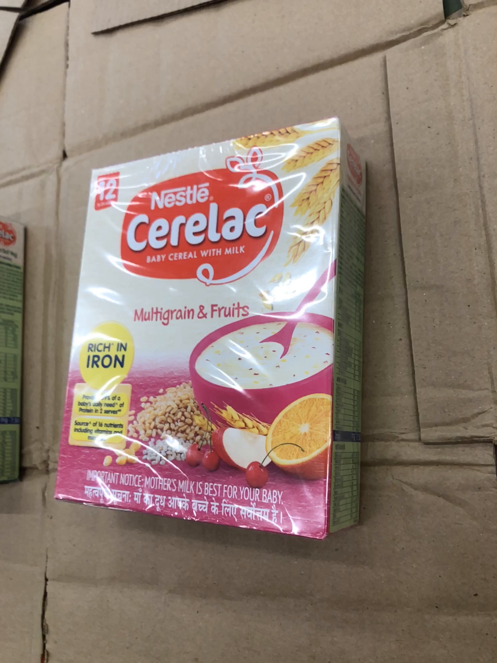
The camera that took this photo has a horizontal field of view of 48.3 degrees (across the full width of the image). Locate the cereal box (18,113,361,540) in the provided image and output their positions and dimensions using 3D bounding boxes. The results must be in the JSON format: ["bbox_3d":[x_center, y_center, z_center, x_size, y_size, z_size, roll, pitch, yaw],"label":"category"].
[{"bbox_3d":[-0.030,0.000,0.276,0.160,0.050,0.170,-3,79,28],"label":"cereal box"}]
